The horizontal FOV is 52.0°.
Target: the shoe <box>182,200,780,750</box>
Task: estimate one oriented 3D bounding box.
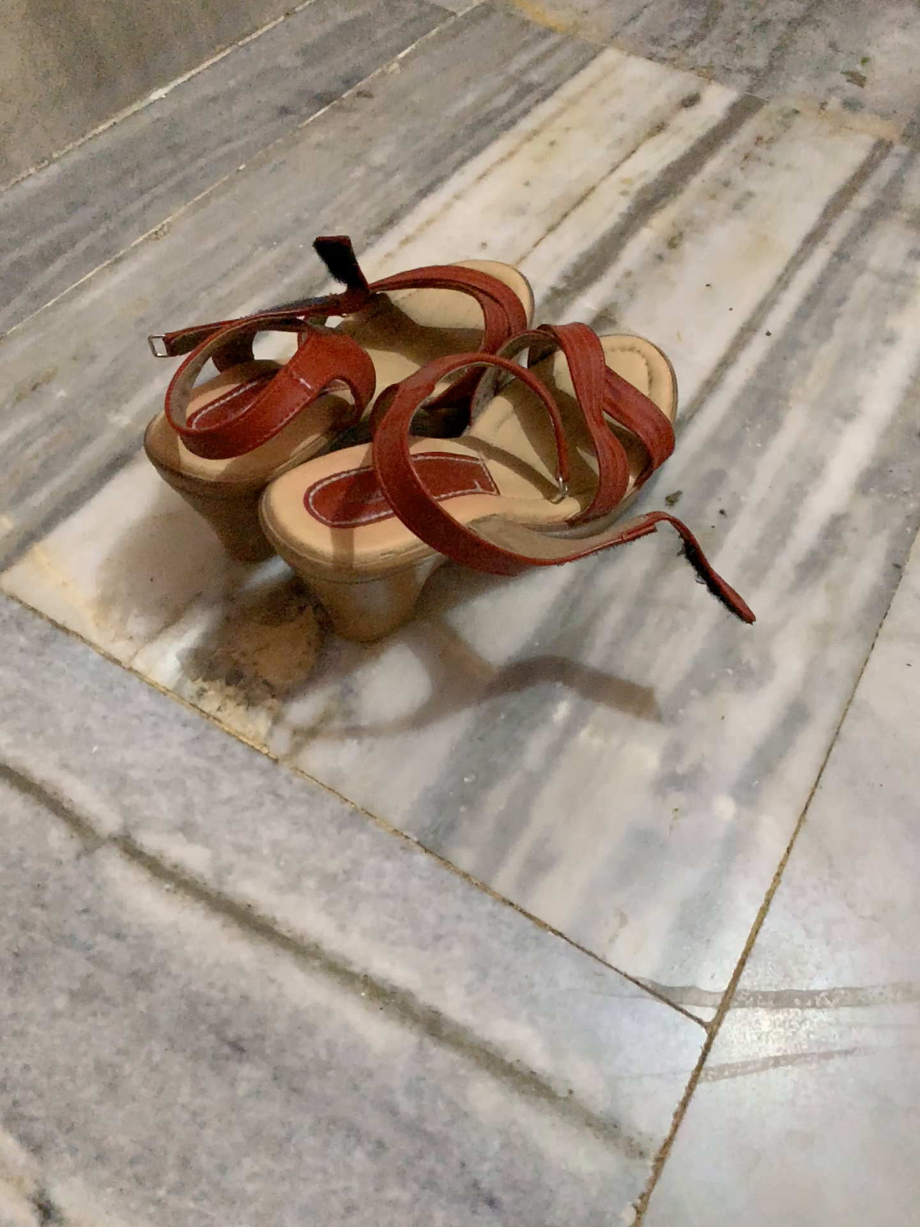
[{"bbox_3d":[0.016,-0.070,0.416,0.100,0.100,0.240,40,62,22],"label":"shoe"}]

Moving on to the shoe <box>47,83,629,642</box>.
[{"bbox_3d":[-0.037,-0.120,0.414,0.100,0.100,0.240,31,59,17],"label":"shoe"}]
